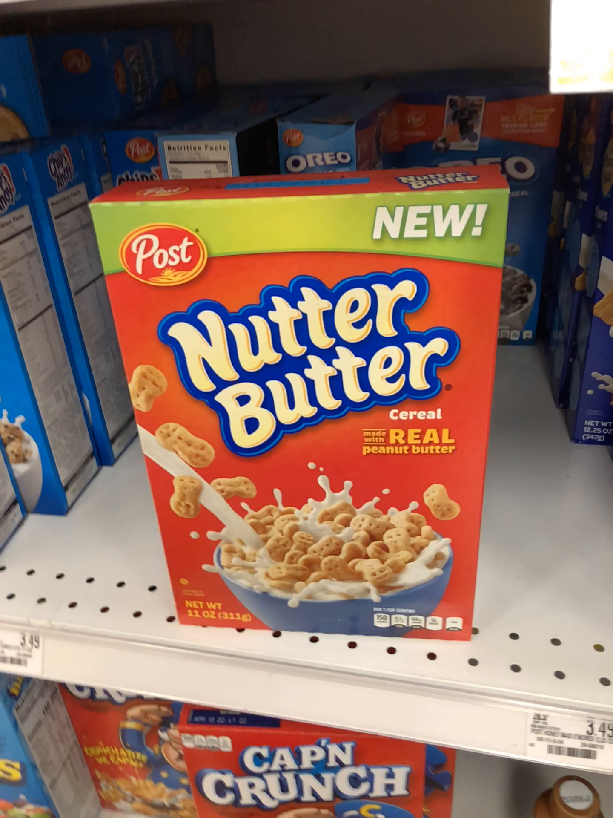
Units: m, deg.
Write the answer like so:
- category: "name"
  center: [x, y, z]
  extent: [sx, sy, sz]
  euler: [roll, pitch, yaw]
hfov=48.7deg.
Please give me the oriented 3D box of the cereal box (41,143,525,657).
- category: "cereal box"
  center: [-0.001, 0.008, 0.371]
  extent: [0.200, 0.269, 0.070]
  euler: [1, 30, 9]
